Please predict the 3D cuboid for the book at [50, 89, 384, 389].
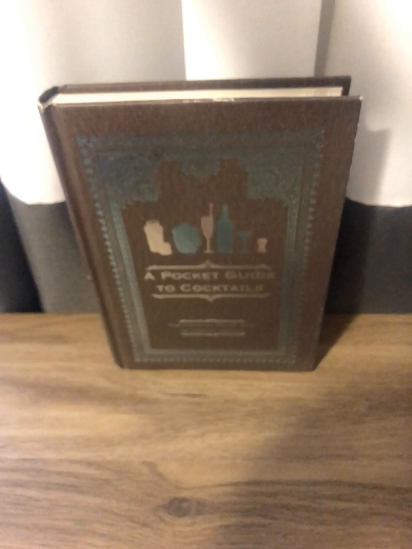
[{"bbox_3d":[0.009,0.000,0.268,0.136,0.200,0.022,0,44,4],"label":"book"}]
